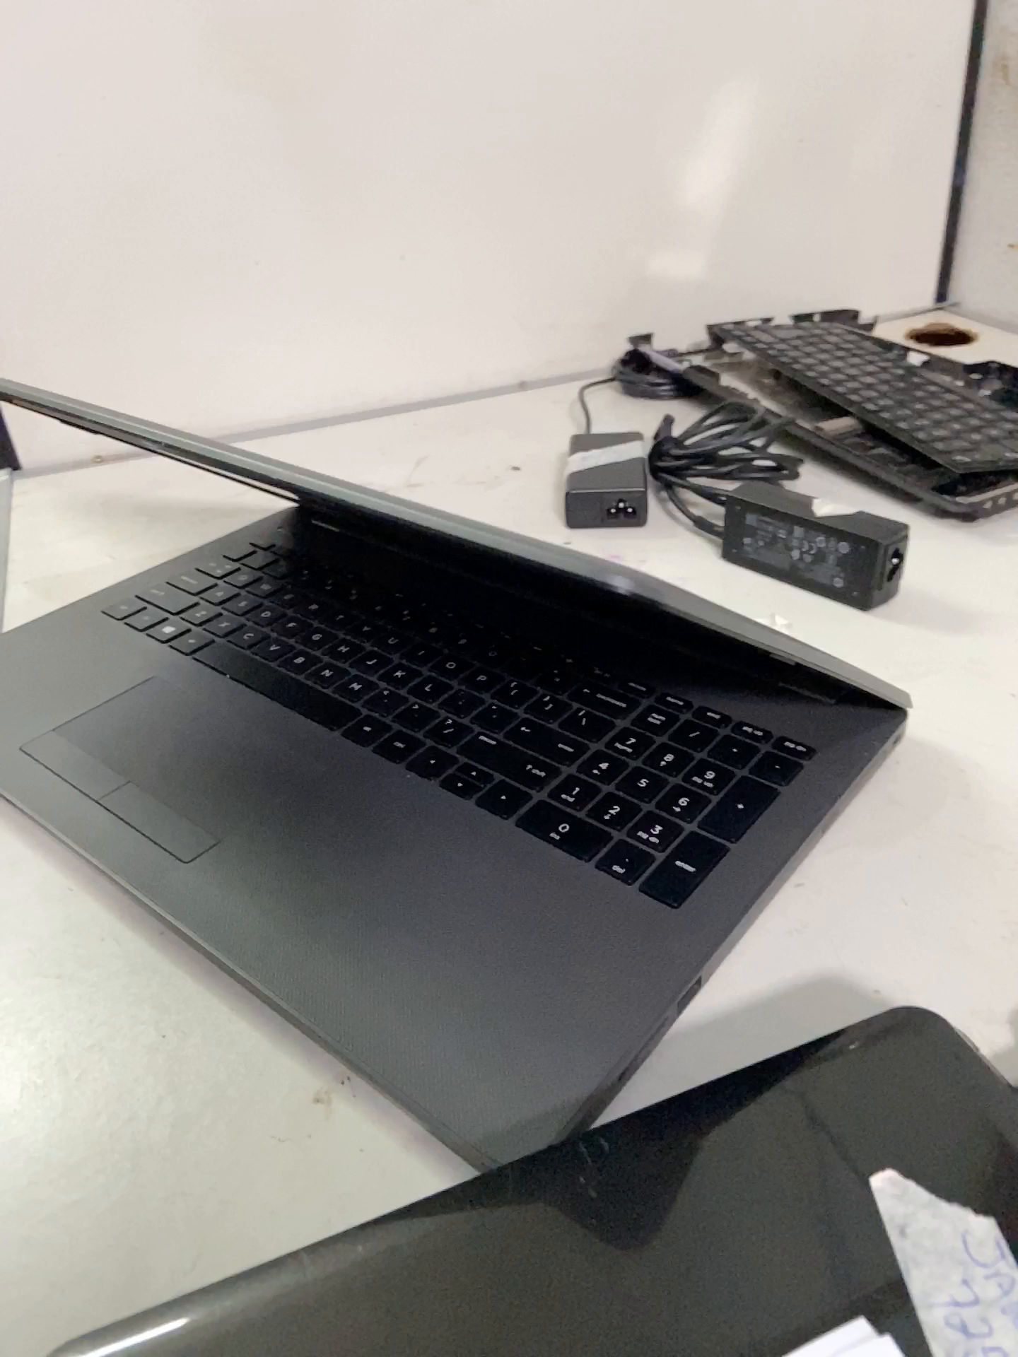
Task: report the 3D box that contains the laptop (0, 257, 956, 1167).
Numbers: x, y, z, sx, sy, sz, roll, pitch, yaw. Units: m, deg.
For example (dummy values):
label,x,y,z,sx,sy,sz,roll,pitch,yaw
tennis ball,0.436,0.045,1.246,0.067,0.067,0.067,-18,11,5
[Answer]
label,x,y,z,sx,sy,sz,roll,pitch,yaw
laptop,-0.070,-0.050,0.416,0.380,0.141,0.248,22,42,34
